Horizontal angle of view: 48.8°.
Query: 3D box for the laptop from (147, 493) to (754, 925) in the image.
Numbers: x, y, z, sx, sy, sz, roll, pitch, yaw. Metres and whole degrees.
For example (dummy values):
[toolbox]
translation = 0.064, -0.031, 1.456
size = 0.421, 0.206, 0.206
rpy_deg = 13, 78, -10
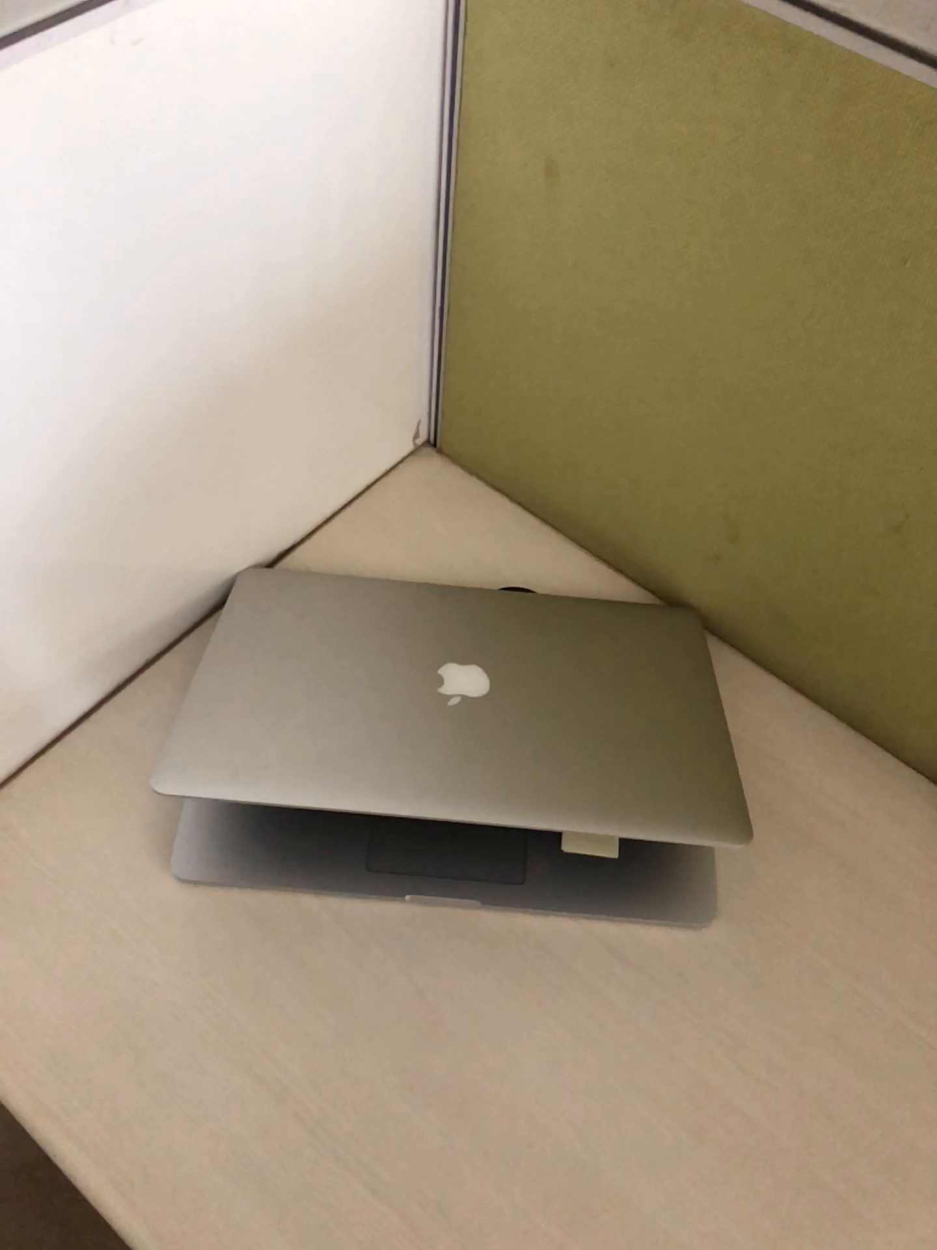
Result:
[laptop]
translation = -0.004, 0.049, 0.683
size = 0.343, 0.083, 0.244
rpy_deg = 5, 56, -1
